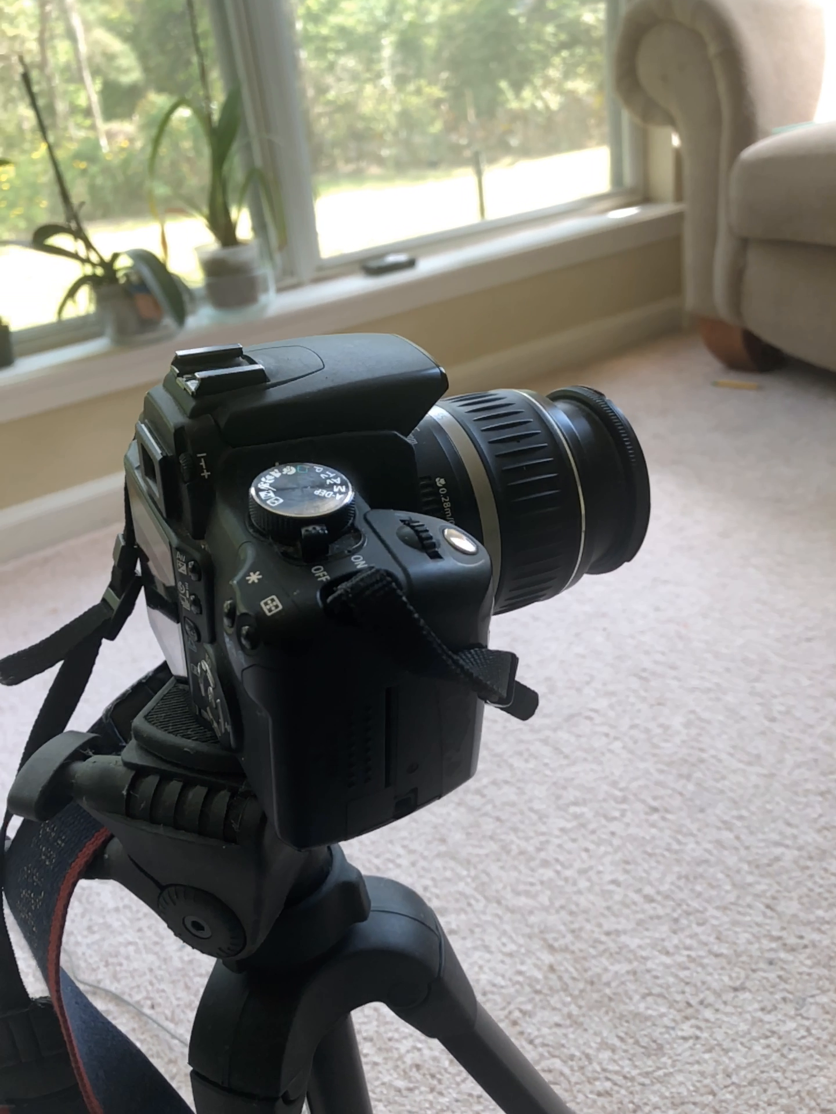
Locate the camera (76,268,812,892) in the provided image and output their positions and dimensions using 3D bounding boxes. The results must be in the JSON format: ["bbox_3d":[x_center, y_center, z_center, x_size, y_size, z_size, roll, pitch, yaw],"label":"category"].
[{"bbox_3d":[-0.001,-0.012,0.263,0.142,0.093,0.131,-15,35,-27],"label":"camera"}]
